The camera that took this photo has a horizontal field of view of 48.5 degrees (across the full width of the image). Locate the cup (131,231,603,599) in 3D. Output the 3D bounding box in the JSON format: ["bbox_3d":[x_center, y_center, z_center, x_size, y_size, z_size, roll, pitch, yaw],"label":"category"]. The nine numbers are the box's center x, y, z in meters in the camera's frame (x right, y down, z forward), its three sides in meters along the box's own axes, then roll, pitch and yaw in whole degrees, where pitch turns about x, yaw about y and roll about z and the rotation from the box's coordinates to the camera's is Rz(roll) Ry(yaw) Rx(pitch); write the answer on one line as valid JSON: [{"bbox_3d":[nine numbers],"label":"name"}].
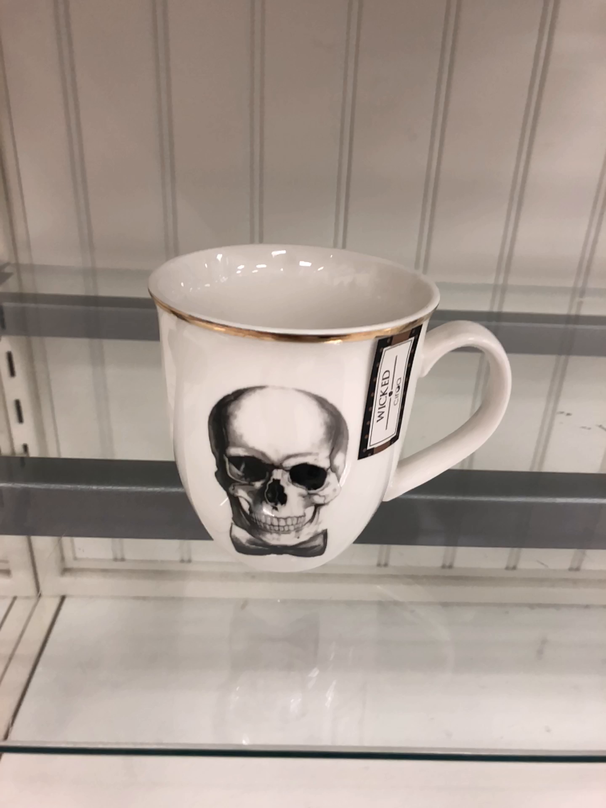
[{"bbox_3d":[0.010,-0.006,0.239,0.131,0.088,0.095,-3,28,-12],"label":"cup"}]
